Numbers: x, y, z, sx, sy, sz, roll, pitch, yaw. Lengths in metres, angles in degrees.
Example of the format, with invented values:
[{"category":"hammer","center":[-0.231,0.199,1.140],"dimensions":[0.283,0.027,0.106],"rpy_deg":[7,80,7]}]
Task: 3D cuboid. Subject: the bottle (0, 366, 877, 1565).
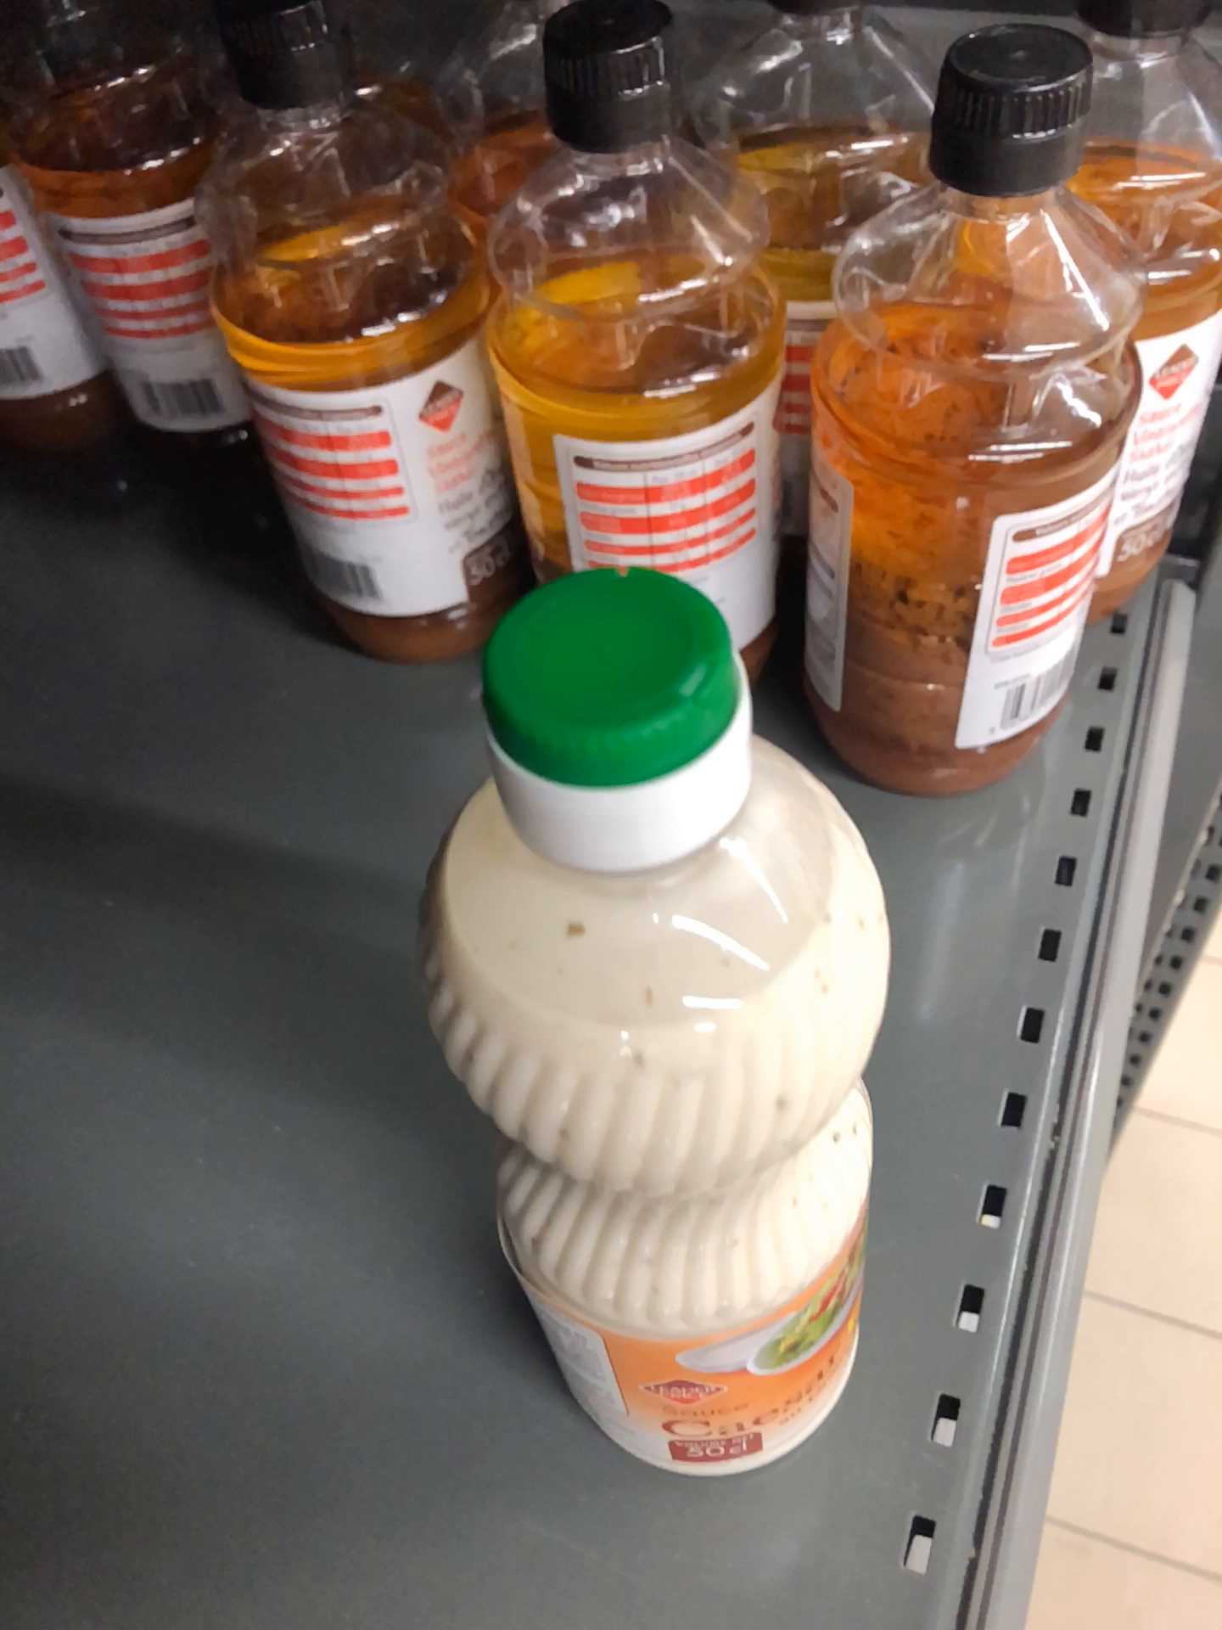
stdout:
[{"category":"bottle","center":[-0.010,0.050,0.237],"dimensions":[0.080,0.229,0.080],"rpy_deg":[-3,51,4]}]
